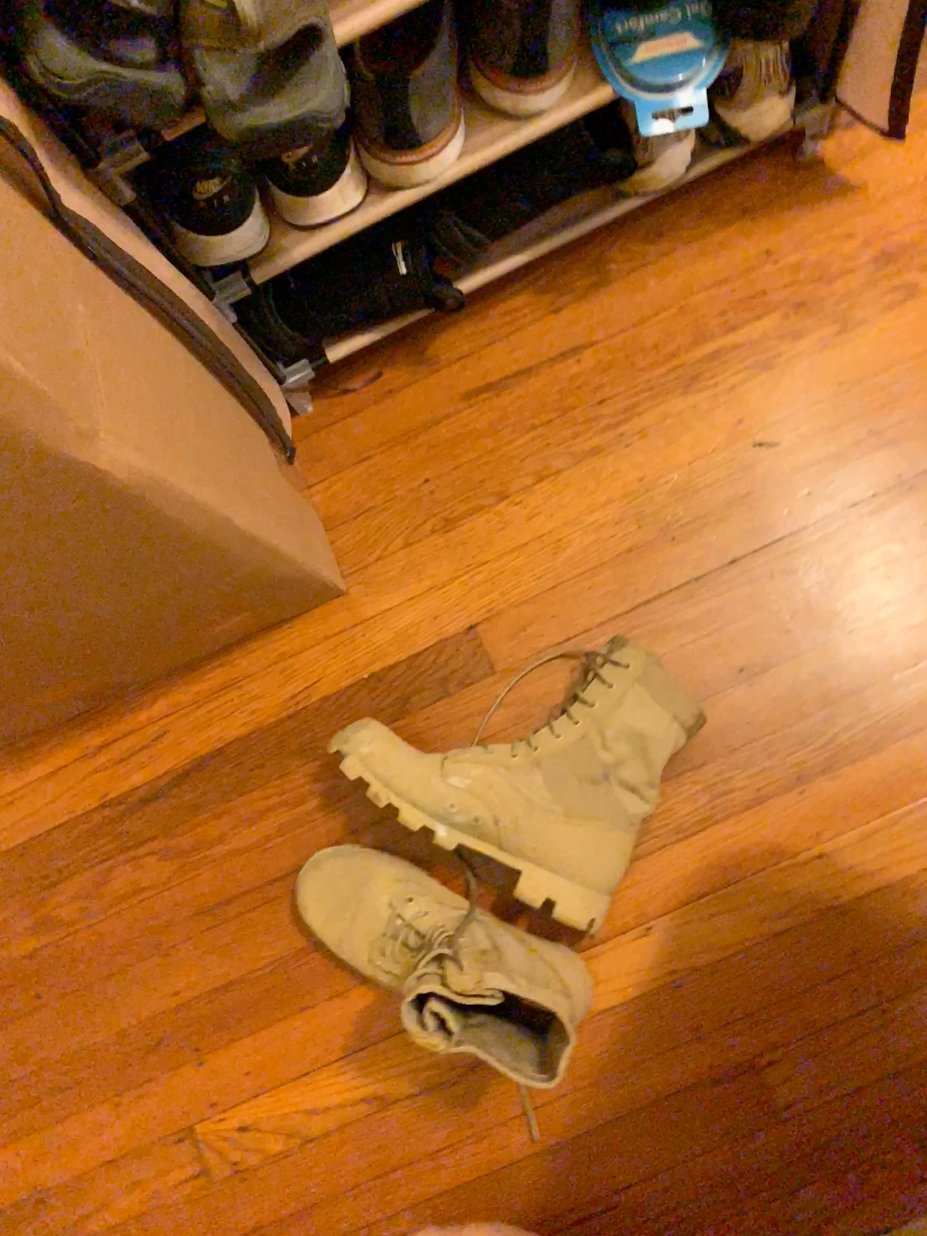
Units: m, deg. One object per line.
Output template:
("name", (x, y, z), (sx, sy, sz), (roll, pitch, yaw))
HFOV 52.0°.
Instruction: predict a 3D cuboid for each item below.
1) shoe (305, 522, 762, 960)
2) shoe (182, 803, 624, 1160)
("shoe", (0.062, 0.102, 0.827), (0.290, 0.110, 0.260), (24, 78, 13))
("shoe", (-0.032, 0.264, 0.756), (0.290, 0.200, 0.120), (22, 84, 13))
